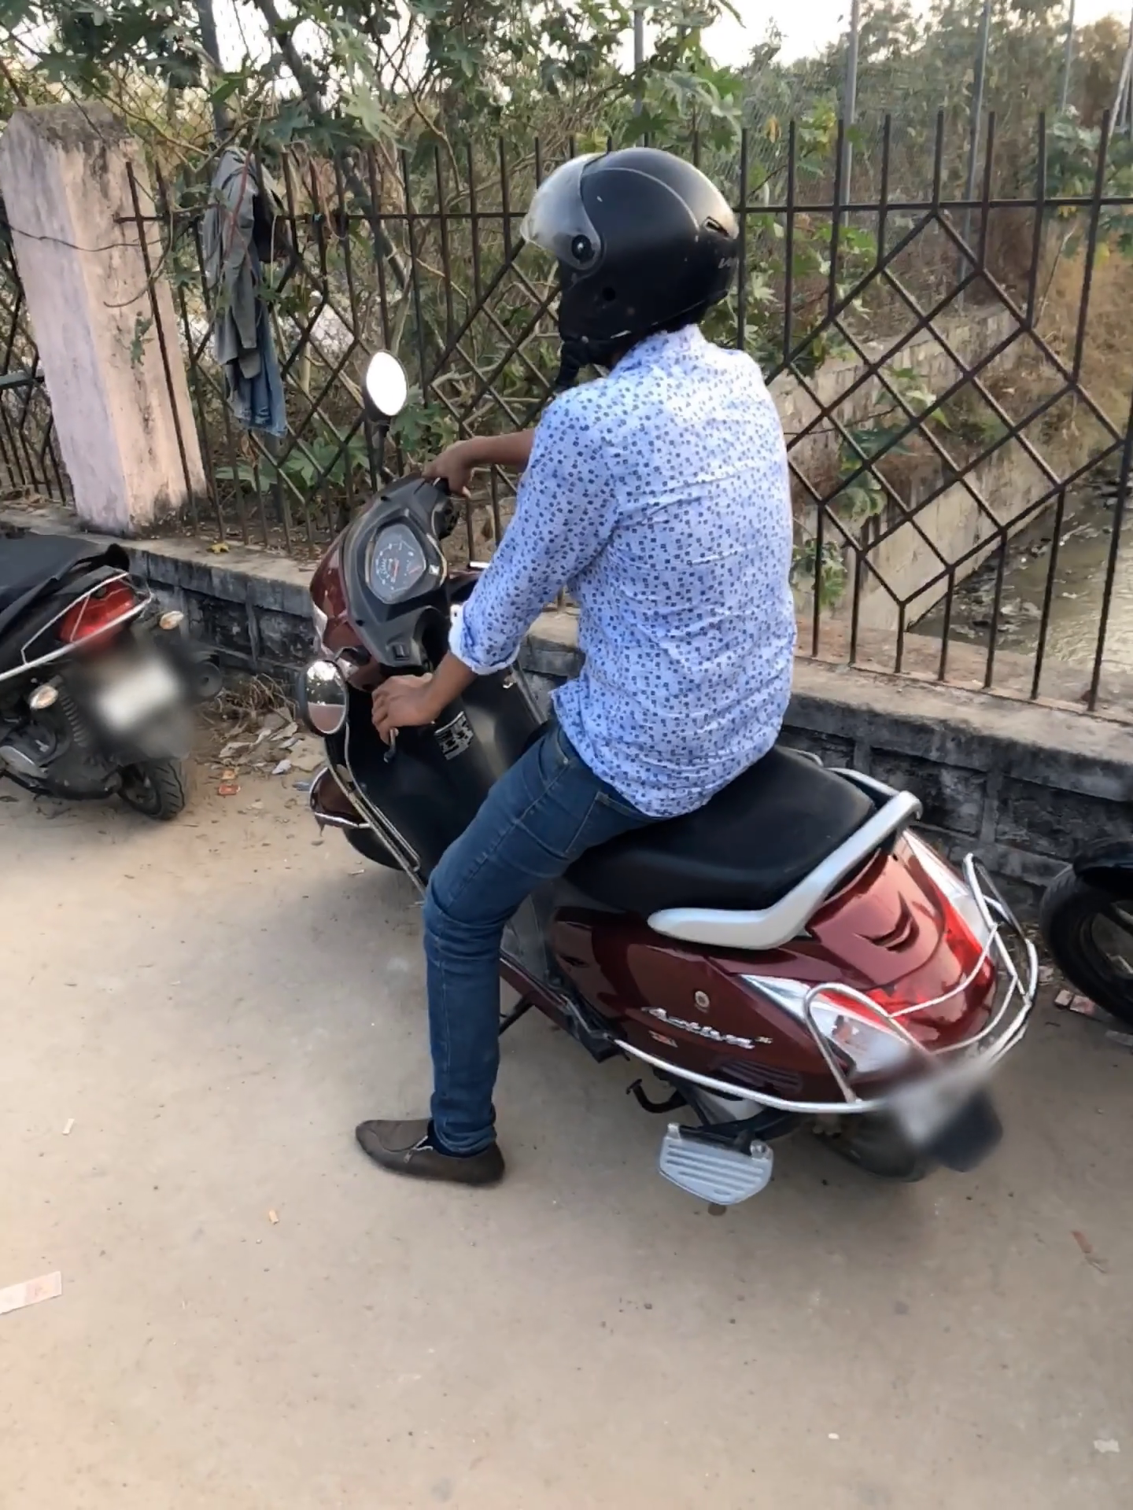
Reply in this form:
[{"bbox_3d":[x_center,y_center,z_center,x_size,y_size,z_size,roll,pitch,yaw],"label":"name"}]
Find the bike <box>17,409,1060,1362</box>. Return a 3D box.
[{"bbox_3d":[-0.132,0.060,2.042,1.490,0.962,0.579,21,34,37],"label":"bike"}]
